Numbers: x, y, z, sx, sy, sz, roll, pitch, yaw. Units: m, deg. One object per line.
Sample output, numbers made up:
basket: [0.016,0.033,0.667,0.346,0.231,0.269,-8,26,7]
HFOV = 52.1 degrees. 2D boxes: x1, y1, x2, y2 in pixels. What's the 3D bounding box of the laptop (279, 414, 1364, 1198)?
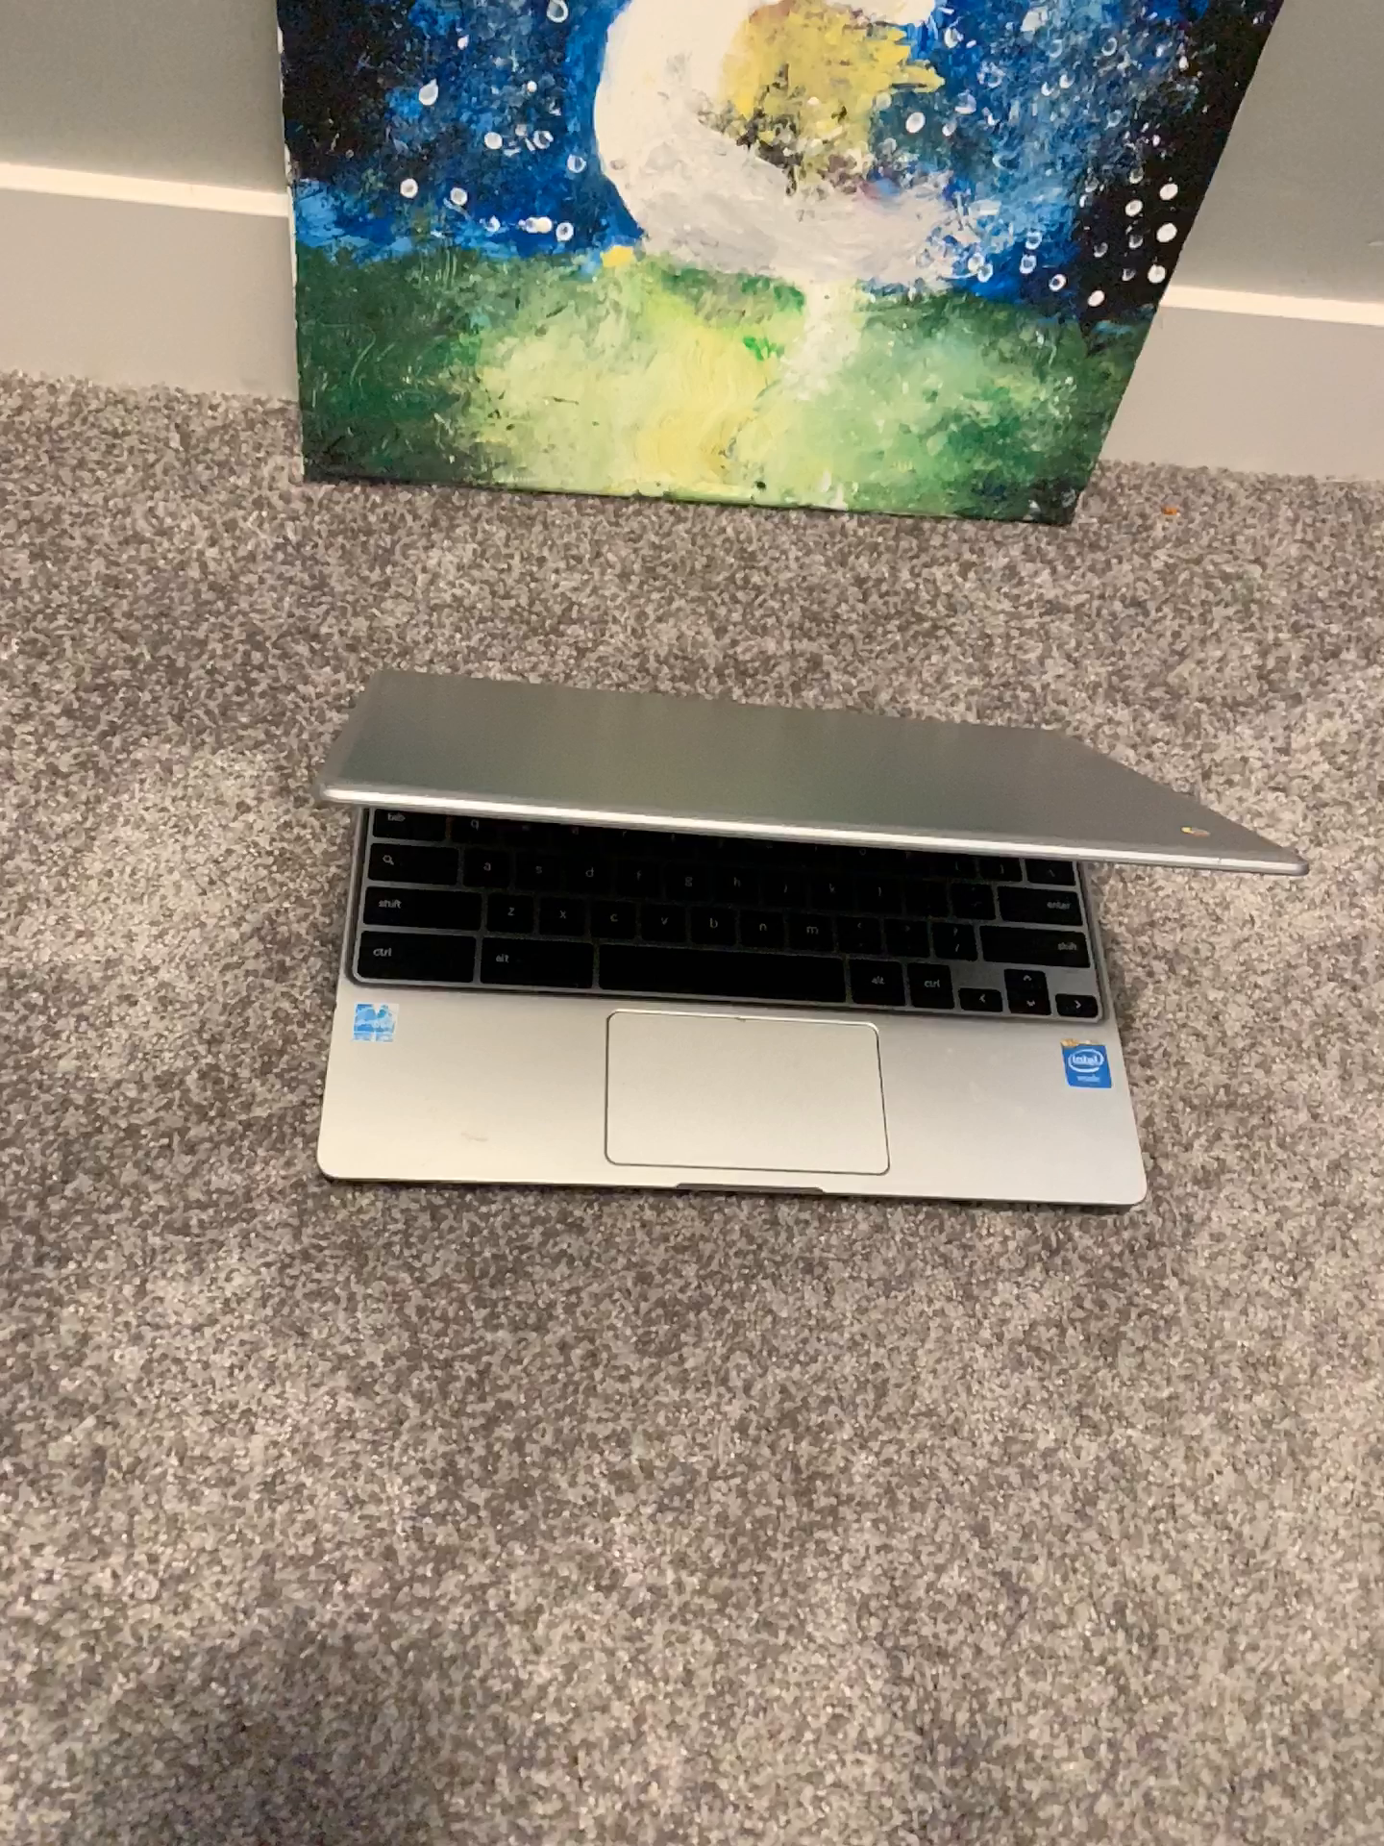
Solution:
laptop: [0.030,-0.029,0.483,0.294,0.144,0.200,4,61,-9]
